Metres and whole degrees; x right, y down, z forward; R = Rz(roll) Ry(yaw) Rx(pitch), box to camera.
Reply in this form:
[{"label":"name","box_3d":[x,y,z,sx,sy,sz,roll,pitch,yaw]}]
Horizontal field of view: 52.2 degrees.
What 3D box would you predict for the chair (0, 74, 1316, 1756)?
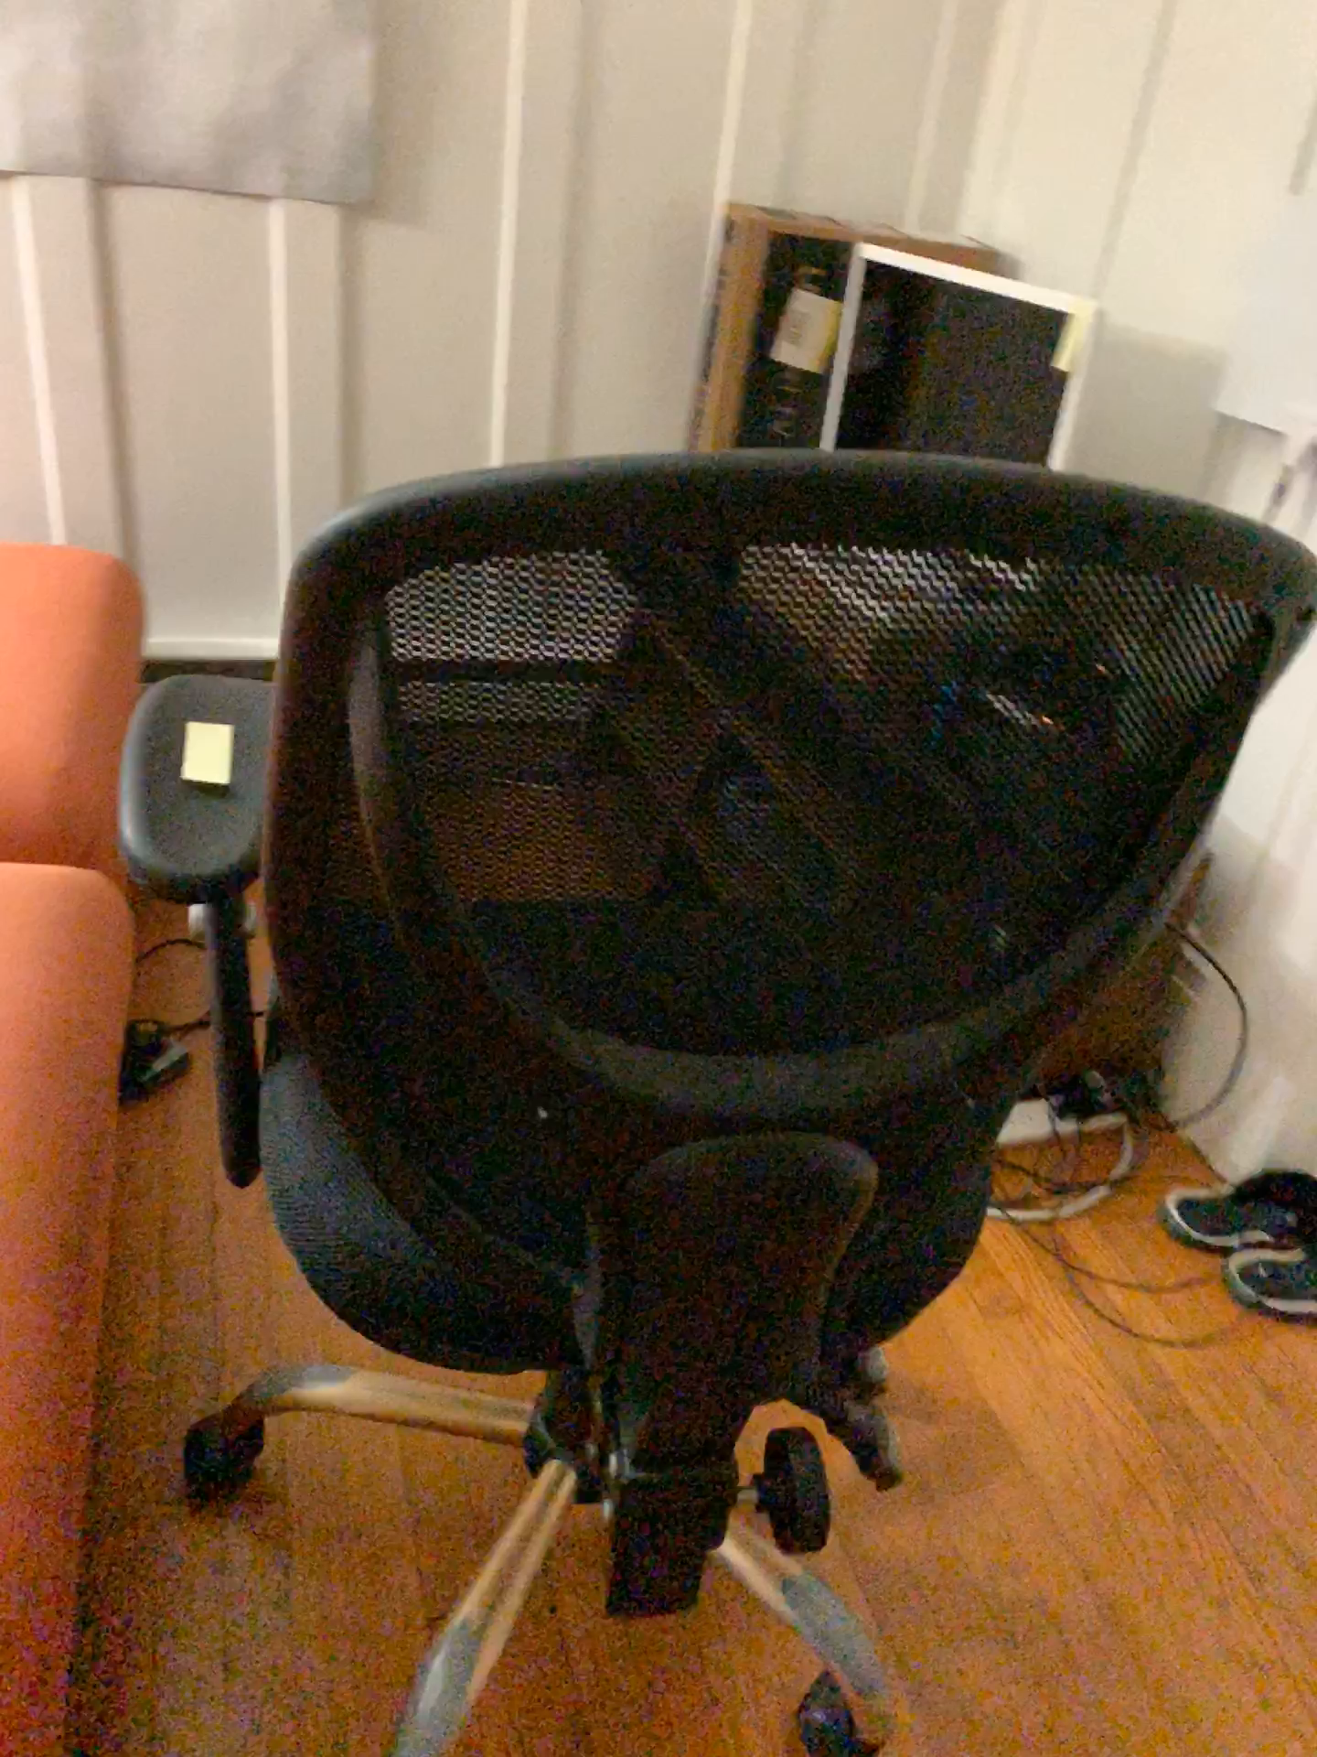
[{"label":"chair","box_3d":[-0.001,0.099,0.897,0.640,0.974,0.664,3,35,-9]}]
